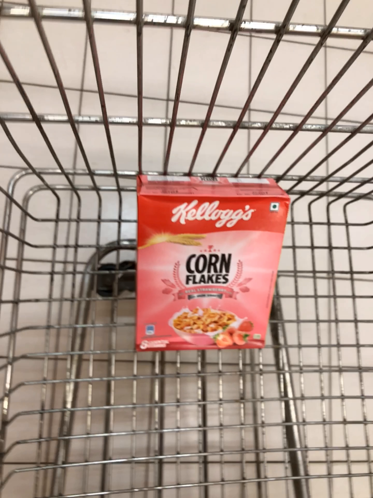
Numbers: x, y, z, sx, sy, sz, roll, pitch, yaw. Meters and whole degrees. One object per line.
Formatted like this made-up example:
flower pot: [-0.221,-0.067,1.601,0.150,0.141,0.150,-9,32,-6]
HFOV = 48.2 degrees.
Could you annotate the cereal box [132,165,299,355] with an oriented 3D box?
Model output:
cereal box: [0.018,0.015,0.410,0.140,0.050,0.180,0,117,-8]
